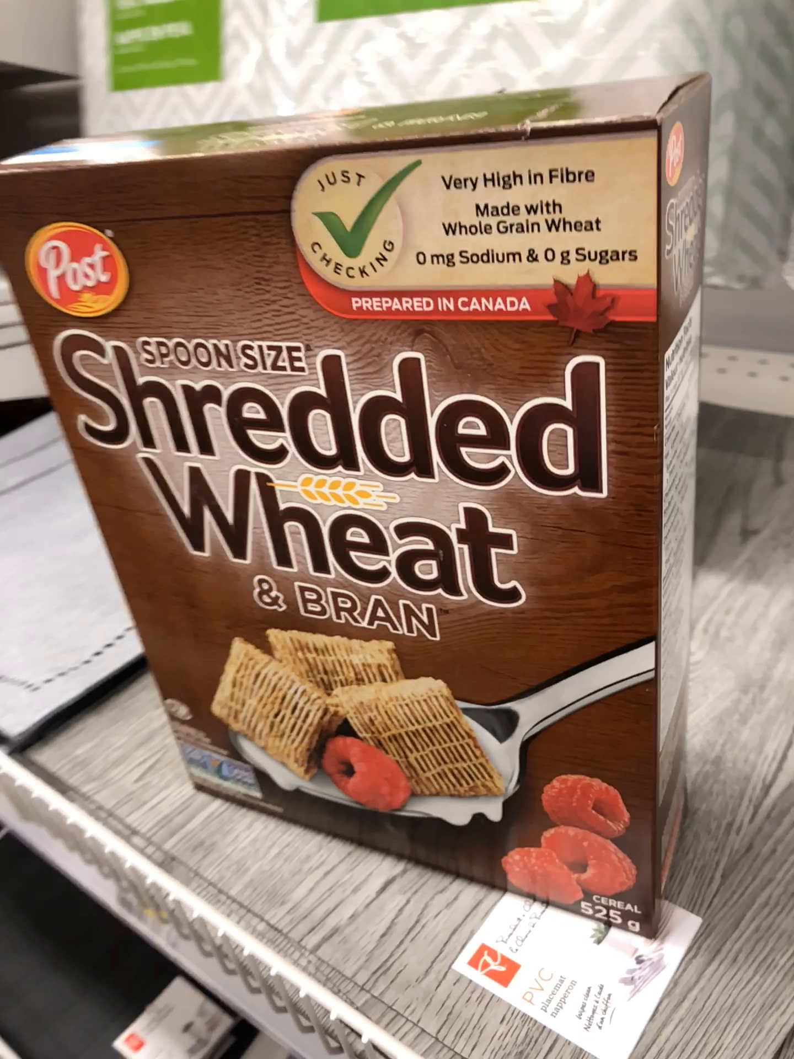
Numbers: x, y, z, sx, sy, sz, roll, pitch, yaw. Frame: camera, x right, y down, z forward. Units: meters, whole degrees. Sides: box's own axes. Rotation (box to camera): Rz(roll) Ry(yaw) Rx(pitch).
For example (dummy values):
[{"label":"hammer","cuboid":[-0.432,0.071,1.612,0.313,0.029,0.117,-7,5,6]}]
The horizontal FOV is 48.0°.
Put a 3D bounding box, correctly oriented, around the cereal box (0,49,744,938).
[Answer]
[{"label":"cereal box","cuboid":[-0.002,-0.003,0.303,0.200,0.259,0.070,9,36,26]}]
